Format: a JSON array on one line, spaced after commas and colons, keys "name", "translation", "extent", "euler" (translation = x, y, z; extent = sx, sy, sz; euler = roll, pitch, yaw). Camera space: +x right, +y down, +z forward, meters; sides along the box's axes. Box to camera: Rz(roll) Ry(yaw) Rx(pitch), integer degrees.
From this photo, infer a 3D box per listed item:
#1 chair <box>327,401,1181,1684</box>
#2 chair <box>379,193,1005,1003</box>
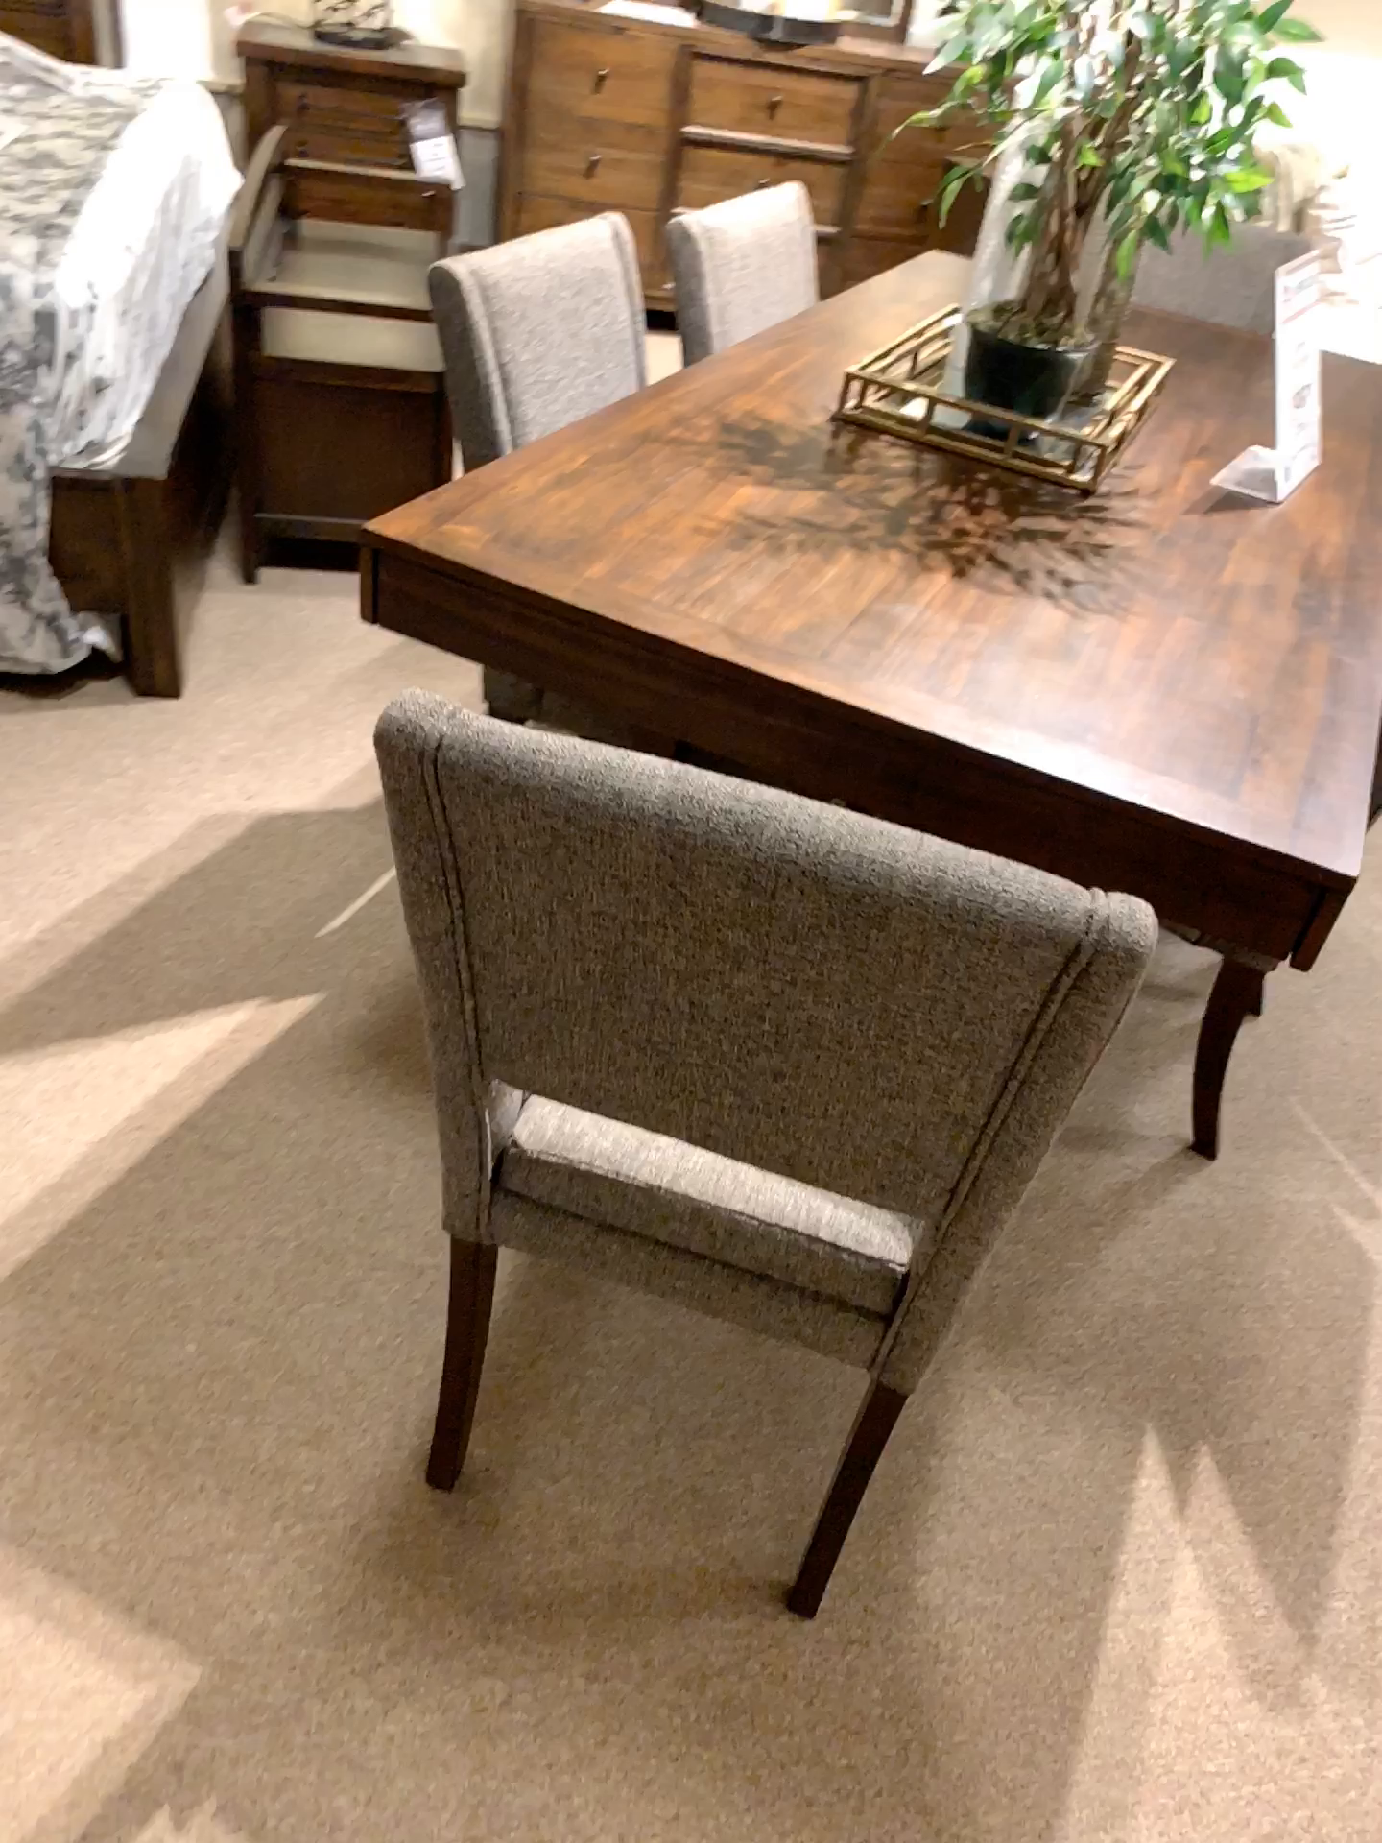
[{"name": "chair", "translation": [0.048, 0.099, 1.285], "extent": [0.479, 0.863, 0.633], "euler": [17, 38, 9]}, {"name": "chair", "translation": [-0.033, -0.457, 1.991], "extent": [0.631, 0.863, 0.481], "euler": [21, 38, 14]}]
